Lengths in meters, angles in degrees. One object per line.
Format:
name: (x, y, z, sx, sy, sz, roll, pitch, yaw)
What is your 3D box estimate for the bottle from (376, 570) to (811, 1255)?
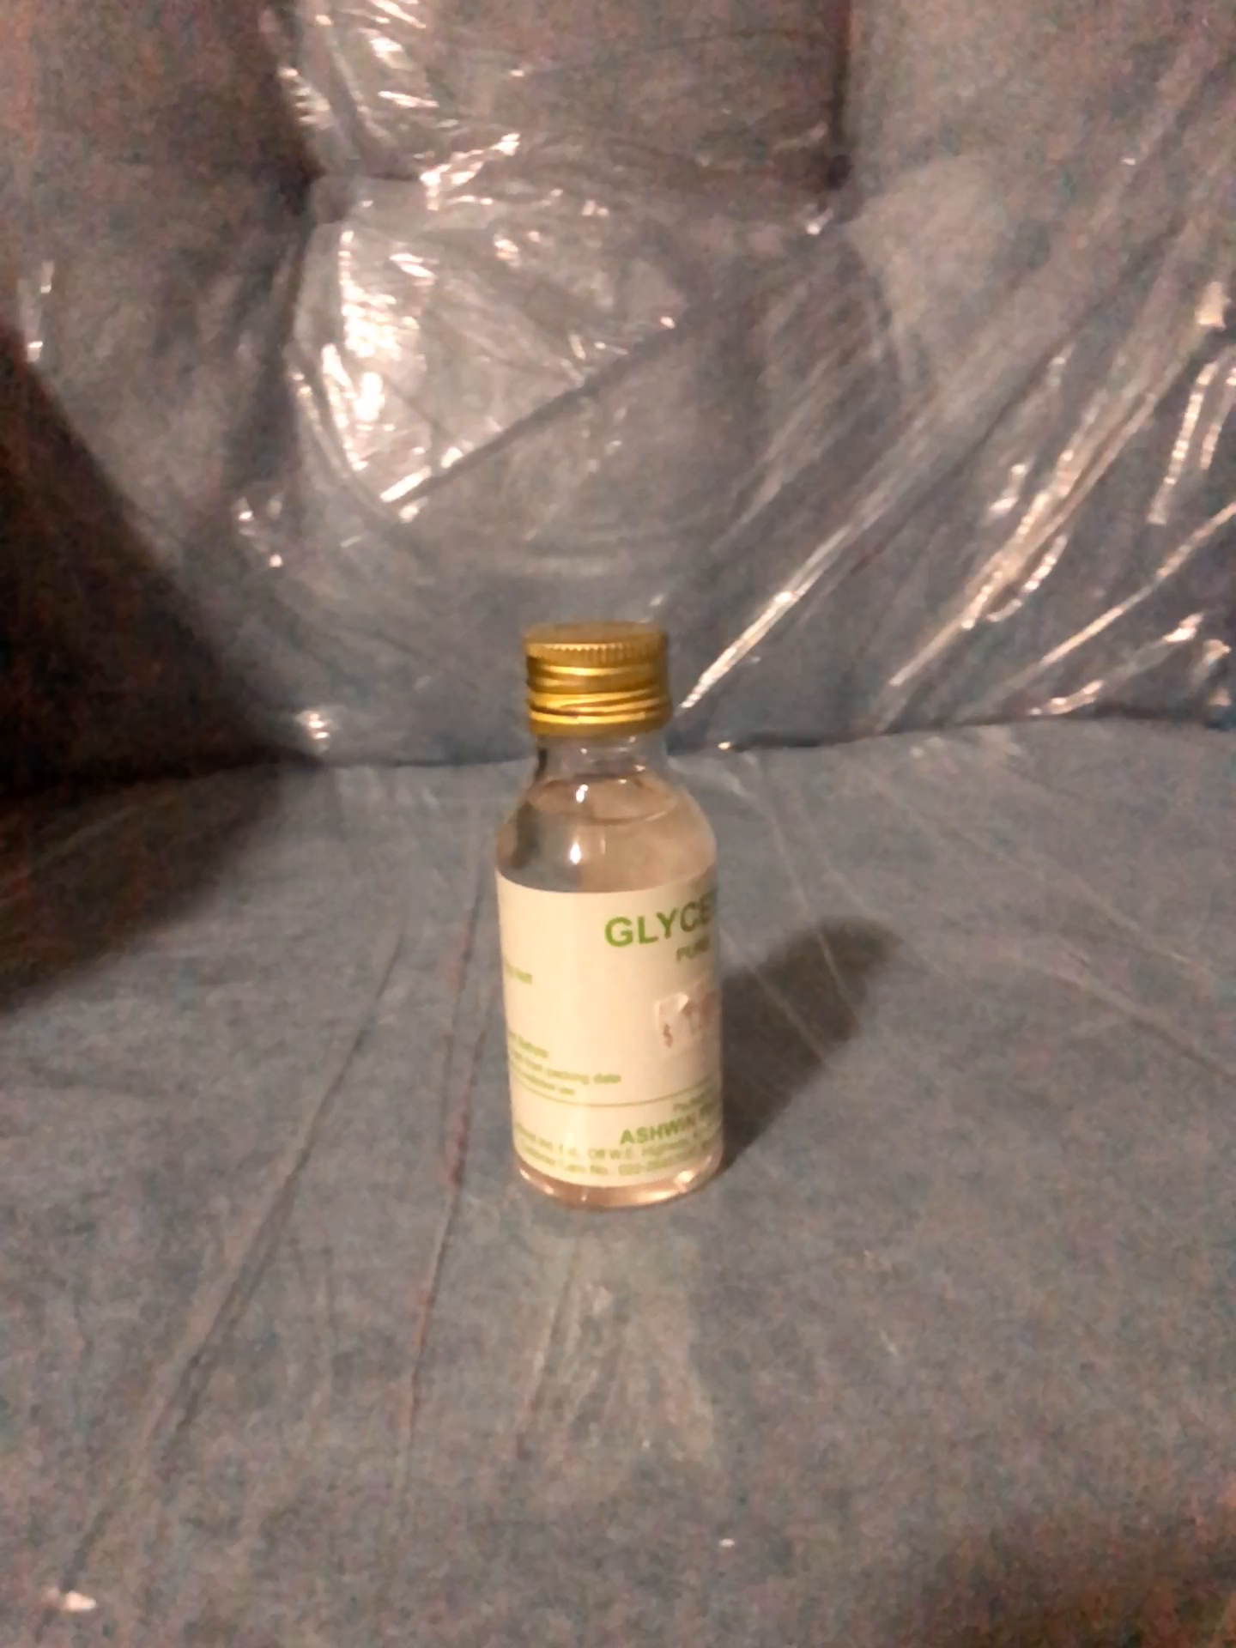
bottle: (-0.002, 0.011, 0.241, 0.050, 0.100, 0.050, -3, 19, 1)
